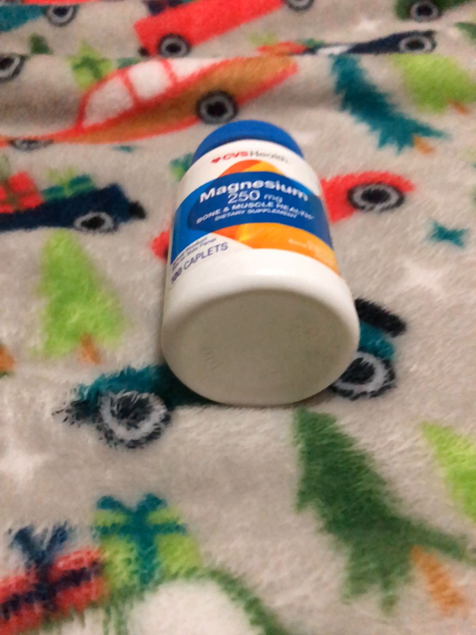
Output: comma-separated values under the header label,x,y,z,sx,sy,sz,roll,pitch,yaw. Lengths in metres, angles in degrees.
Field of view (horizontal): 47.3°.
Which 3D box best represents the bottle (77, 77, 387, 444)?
label,x,y,z,sx,sy,sz,roll,pitch,yaw
bottle,-0.001,-0.023,0.158,0.060,0.050,0.100,-5,44,2
